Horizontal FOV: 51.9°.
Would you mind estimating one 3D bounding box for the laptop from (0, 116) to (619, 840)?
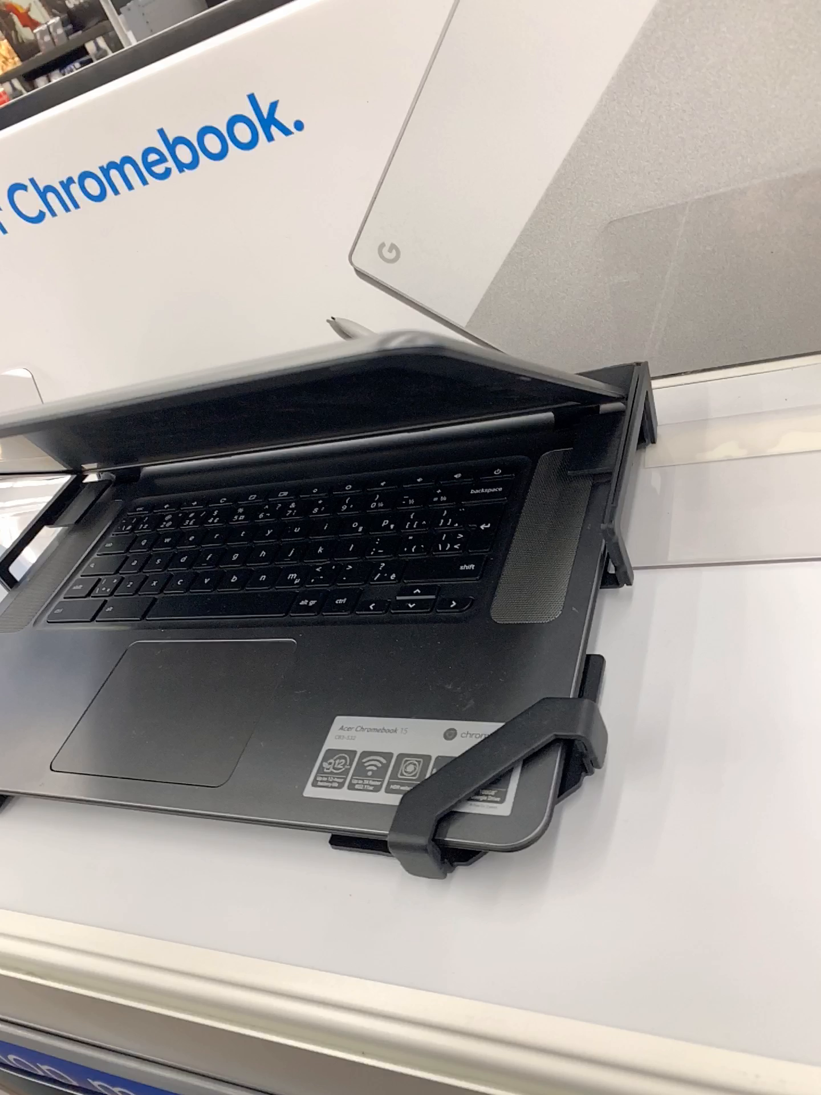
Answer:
[{"bbox_3d":[-0.094,-0.025,0.325,0.301,0.116,0.194,-4,43,28],"label":"laptop"}]
